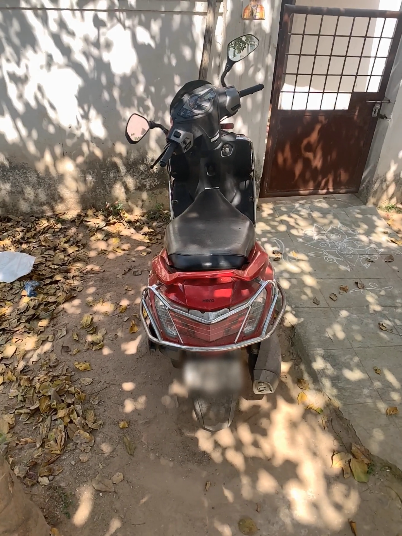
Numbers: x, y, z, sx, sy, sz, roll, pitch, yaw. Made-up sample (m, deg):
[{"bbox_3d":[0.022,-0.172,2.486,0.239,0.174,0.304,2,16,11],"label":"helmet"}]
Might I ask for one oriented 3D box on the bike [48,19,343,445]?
[{"bbox_3d":[-0.172,-0.348,1.997,0.735,1.154,1.769,-3,39,-8],"label":"bike"}]
